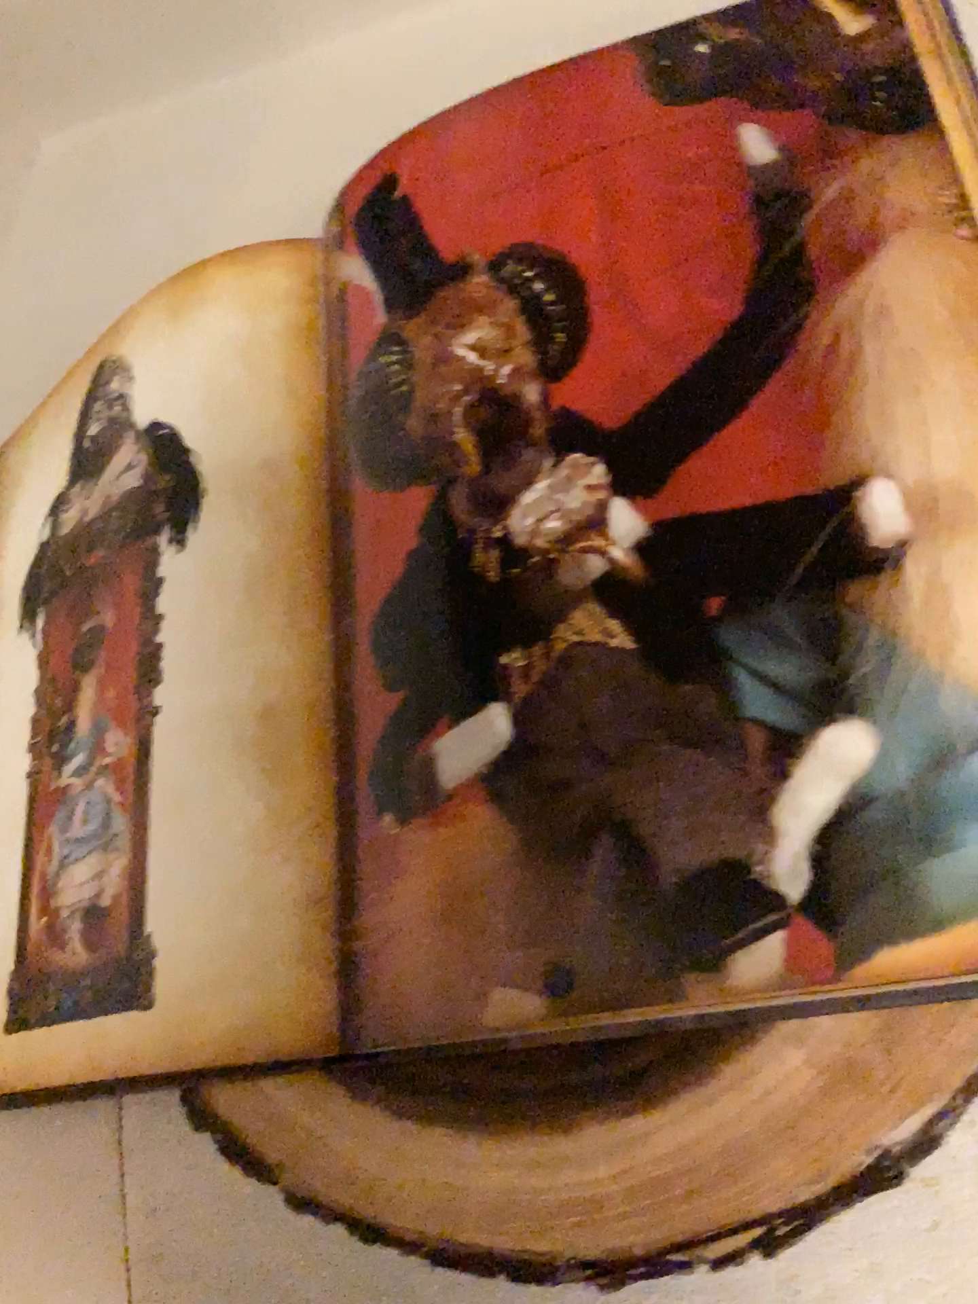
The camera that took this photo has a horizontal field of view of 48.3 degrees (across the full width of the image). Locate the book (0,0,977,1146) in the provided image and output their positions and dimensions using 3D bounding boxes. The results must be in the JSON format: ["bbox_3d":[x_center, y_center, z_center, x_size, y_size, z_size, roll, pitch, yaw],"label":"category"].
[{"bbox_3d":[-0.055,-0.038,0.365,0.470,0.040,0.340,-17,64,26],"label":"book"}]
